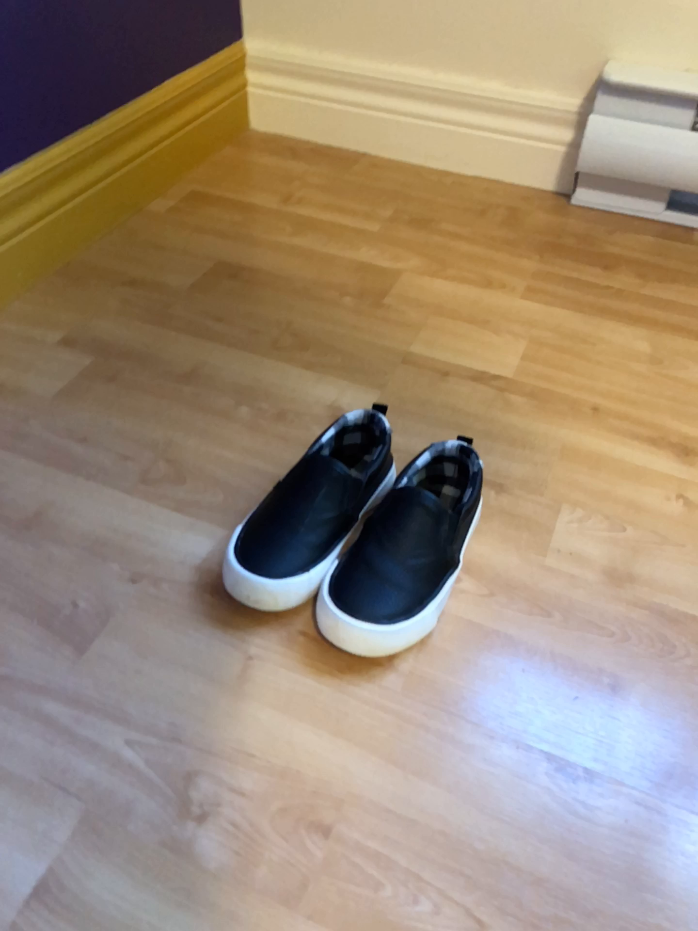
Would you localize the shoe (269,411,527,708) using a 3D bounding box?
[{"bbox_3d":[0.036,0.051,0.492,0.080,0.060,0.181,25,48,22],"label":"shoe"}]

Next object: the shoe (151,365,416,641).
[{"bbox_3d":[-0.035,0.016,0.509,0.080,0.060,0.181,24,48,21],"label":"shoe"}]
